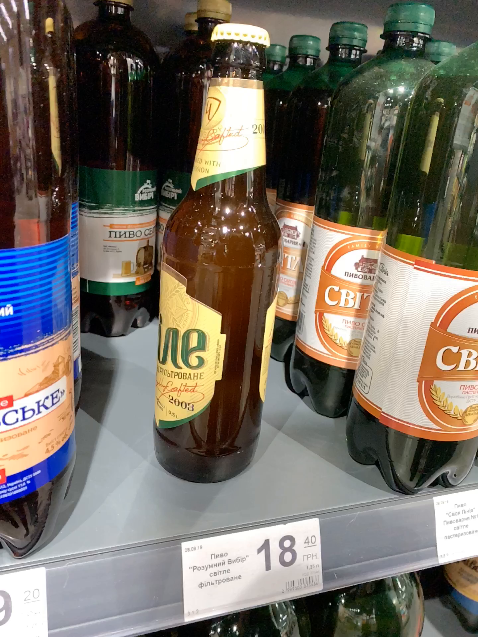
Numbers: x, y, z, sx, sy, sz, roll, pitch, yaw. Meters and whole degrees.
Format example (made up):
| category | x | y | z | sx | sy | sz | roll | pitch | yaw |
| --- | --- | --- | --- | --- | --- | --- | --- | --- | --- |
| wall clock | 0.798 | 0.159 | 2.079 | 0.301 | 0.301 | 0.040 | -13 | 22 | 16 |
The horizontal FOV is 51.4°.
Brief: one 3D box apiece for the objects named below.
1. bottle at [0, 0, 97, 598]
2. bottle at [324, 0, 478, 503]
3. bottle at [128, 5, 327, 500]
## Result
| category | x | y | z | sx | sy | sz | roll | pitch | yaw |
| --- | --- | --- | --- | --- | --- | --- | --- | --- | --- |
| bottle | -0.109 | -0.033 | 0.202 | 0.084 | 0.283 | 0.070 | -5 | 24 | -26 |
| bottle | 0.123 | -0.036 | 0.284 | 0.084 | 0.277 | 0.070 | -2 | 23 | -18 |
| bottle | -0.017 | -0.027 | 0.287 | 0.070 | 0.248 | 0.068 | 5 | 21 | -2 |
